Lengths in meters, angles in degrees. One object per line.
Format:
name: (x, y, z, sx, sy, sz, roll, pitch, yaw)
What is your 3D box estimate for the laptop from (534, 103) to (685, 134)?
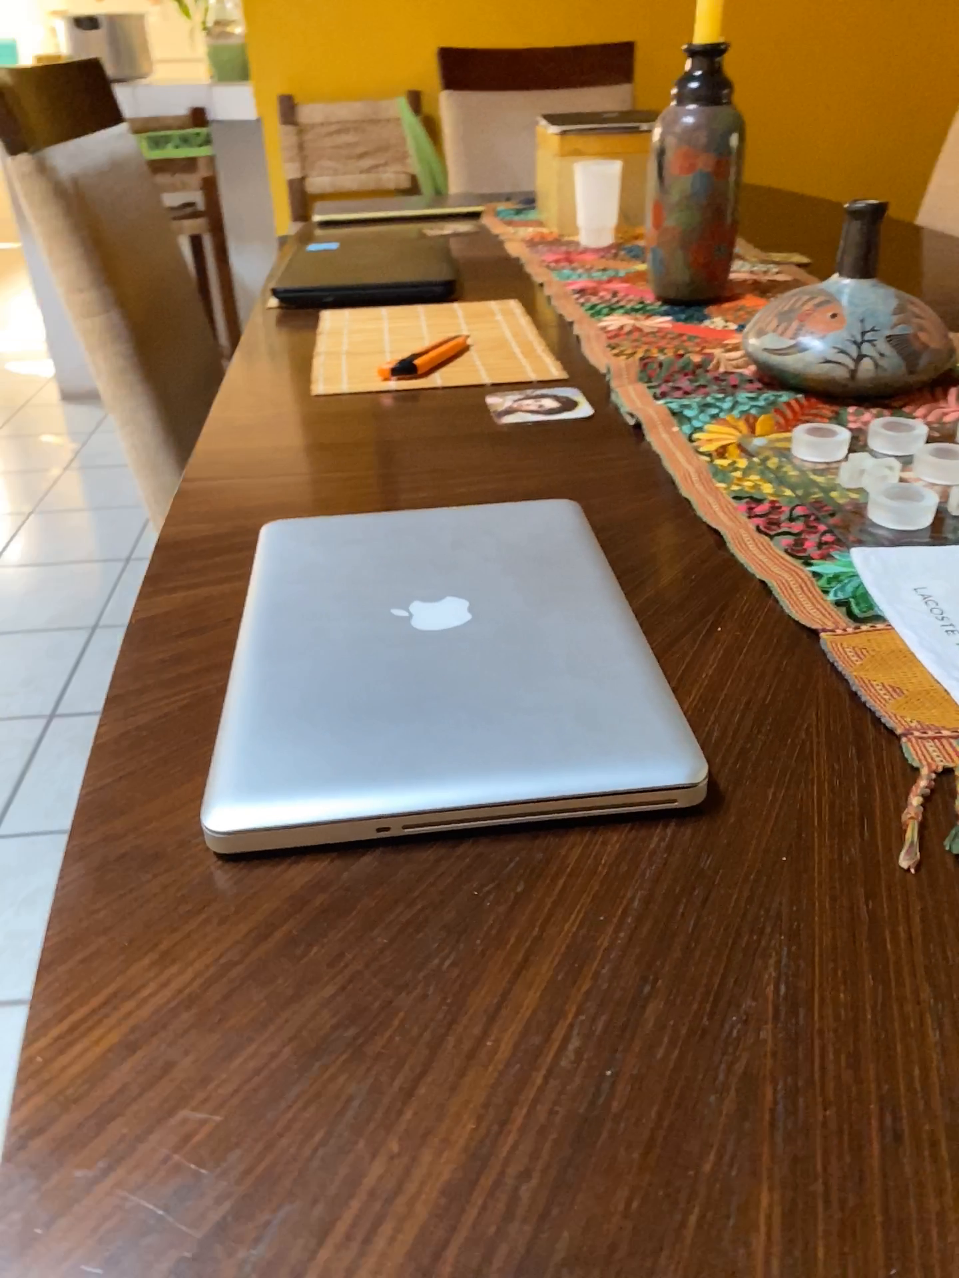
laptop: (0.220, -0.925, 1.742, 0.214, 0.011, 0.310, -4, 32, 1)

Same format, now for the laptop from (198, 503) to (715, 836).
laptop: (-0.026, -0.007, 0.577, 0.232, 0.002, 0.325, -5, 31, -4)

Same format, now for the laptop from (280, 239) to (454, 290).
laptop: (-0.176, -0.604, 1.574, 0.254, 0.012, 0.303, -3, 32, -5)

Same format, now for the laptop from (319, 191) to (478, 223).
laptop: (-0.194, -0.991, 2.246, 0.343, 0.004, 0.321, -8, 31, -7)
